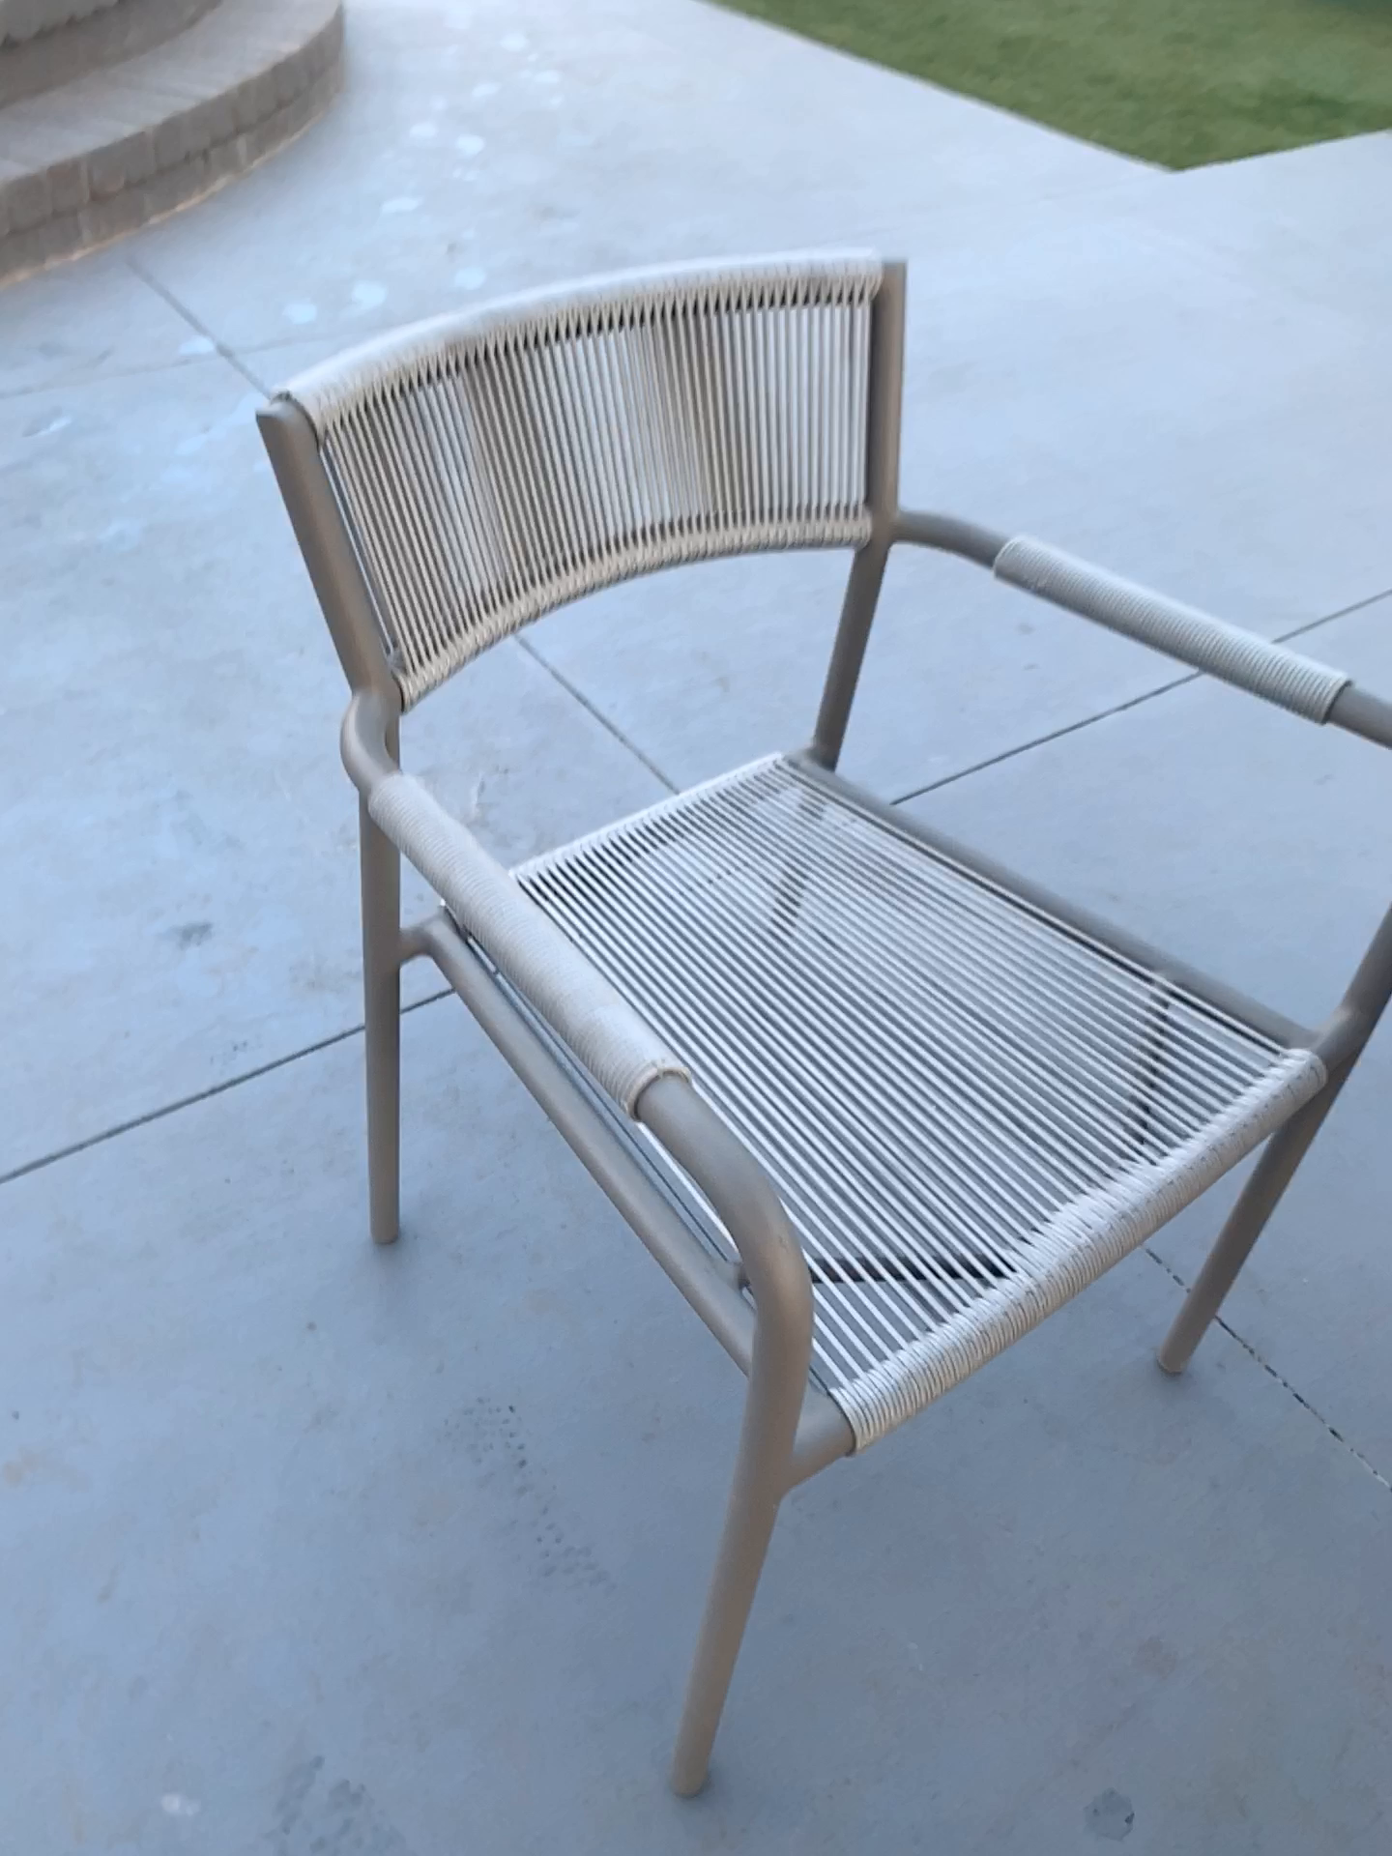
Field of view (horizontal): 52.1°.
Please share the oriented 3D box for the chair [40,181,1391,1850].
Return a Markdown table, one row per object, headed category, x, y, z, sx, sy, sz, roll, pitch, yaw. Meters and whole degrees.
| category | x | y | z | sx | sy | sz | roll | pitch | yaw |
| --- | --- | --- | --- | --- | --- | --- | --- | --- | --- |
| chair | 0.090 | 0.023 | 1.000 | 0.671 | 0.767 | 0.601 | -28 | 52 | -30 |
